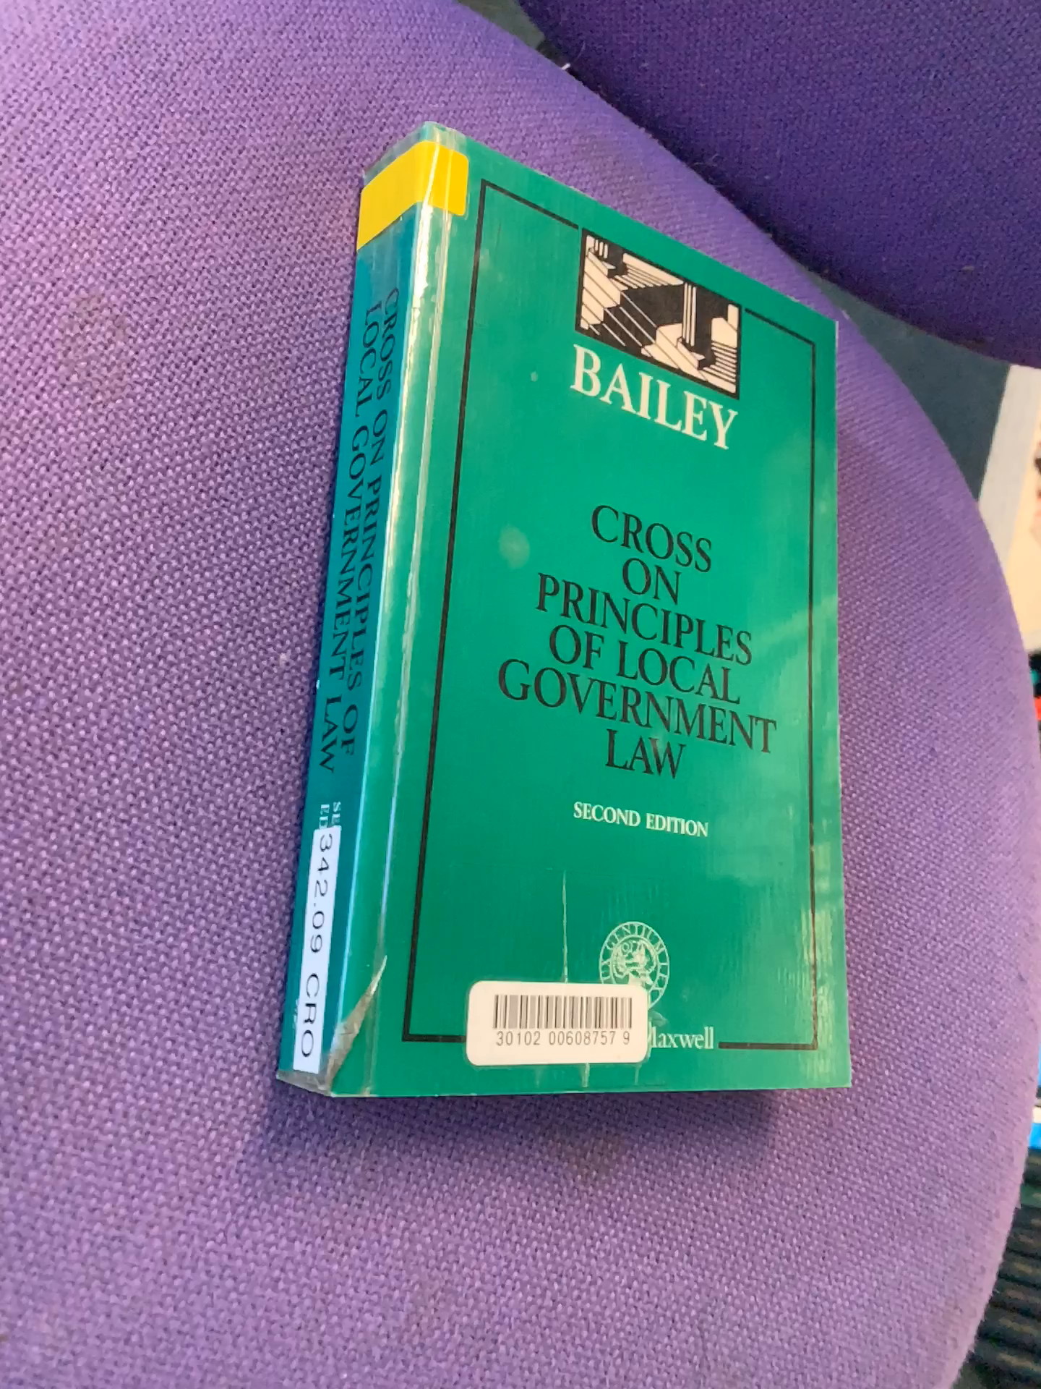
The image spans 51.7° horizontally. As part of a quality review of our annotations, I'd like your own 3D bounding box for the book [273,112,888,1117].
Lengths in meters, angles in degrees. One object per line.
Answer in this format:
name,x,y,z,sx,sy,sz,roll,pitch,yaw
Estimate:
book,0.026,-0.015,0.298,0.161,0.040,0.236,11,72,-32
